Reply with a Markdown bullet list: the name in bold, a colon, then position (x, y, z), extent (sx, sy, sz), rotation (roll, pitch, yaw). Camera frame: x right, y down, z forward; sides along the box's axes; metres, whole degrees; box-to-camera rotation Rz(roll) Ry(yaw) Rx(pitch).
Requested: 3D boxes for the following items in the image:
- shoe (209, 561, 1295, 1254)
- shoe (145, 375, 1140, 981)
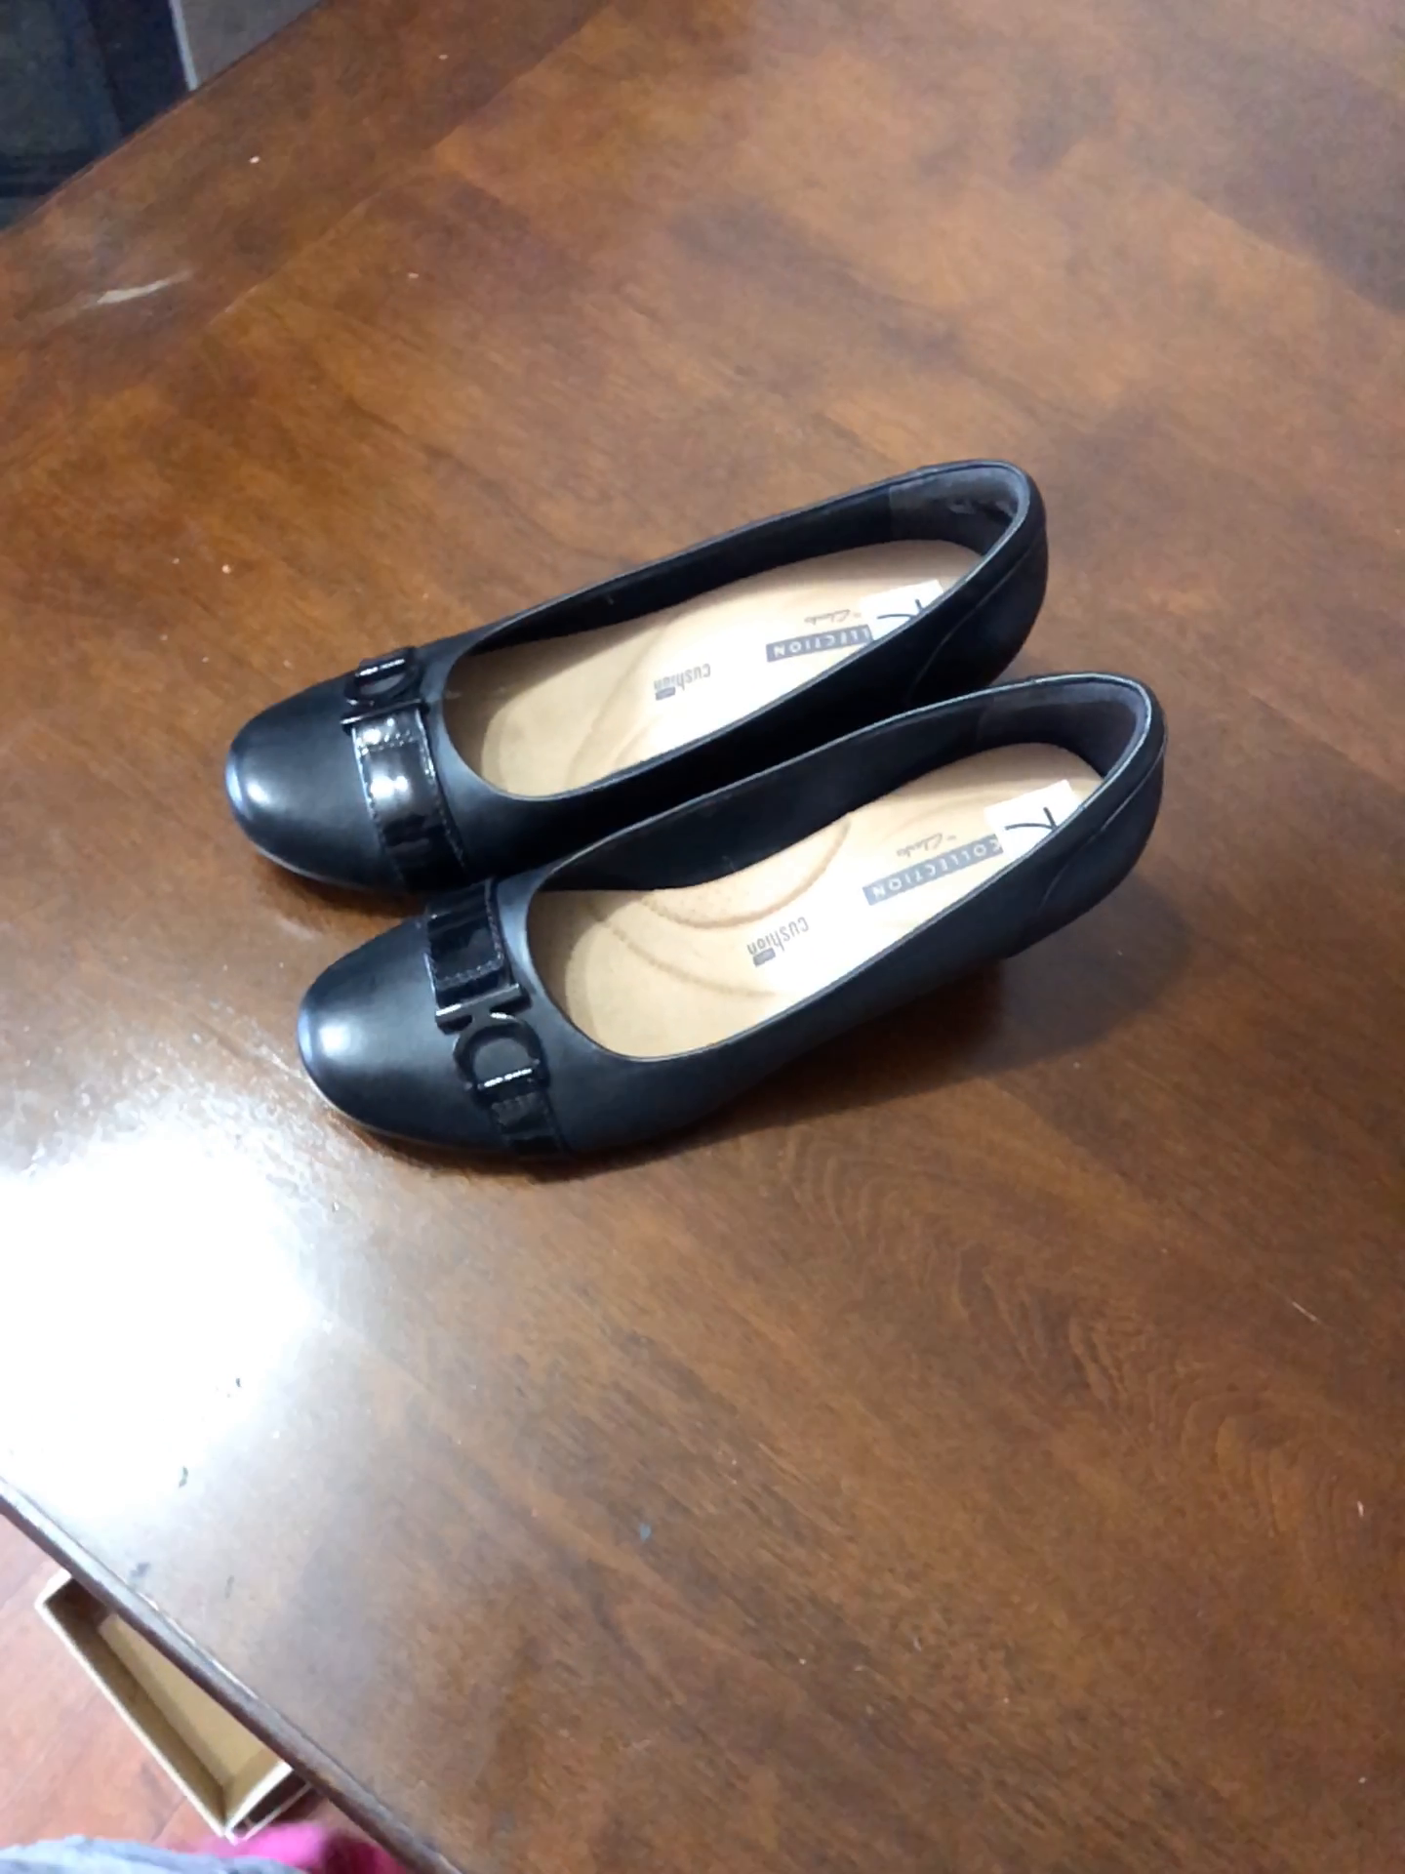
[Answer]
- **shoe**: position (0.011, -0.007, 0.428), extent (0.250, 0.110, 0.090), rotation (-16, 69, -13)
- **shoe**: position (-0.019, -0.076, 0.464), extent (0.250, 0.110, 0.090), rotation (-13, 68, -12)
